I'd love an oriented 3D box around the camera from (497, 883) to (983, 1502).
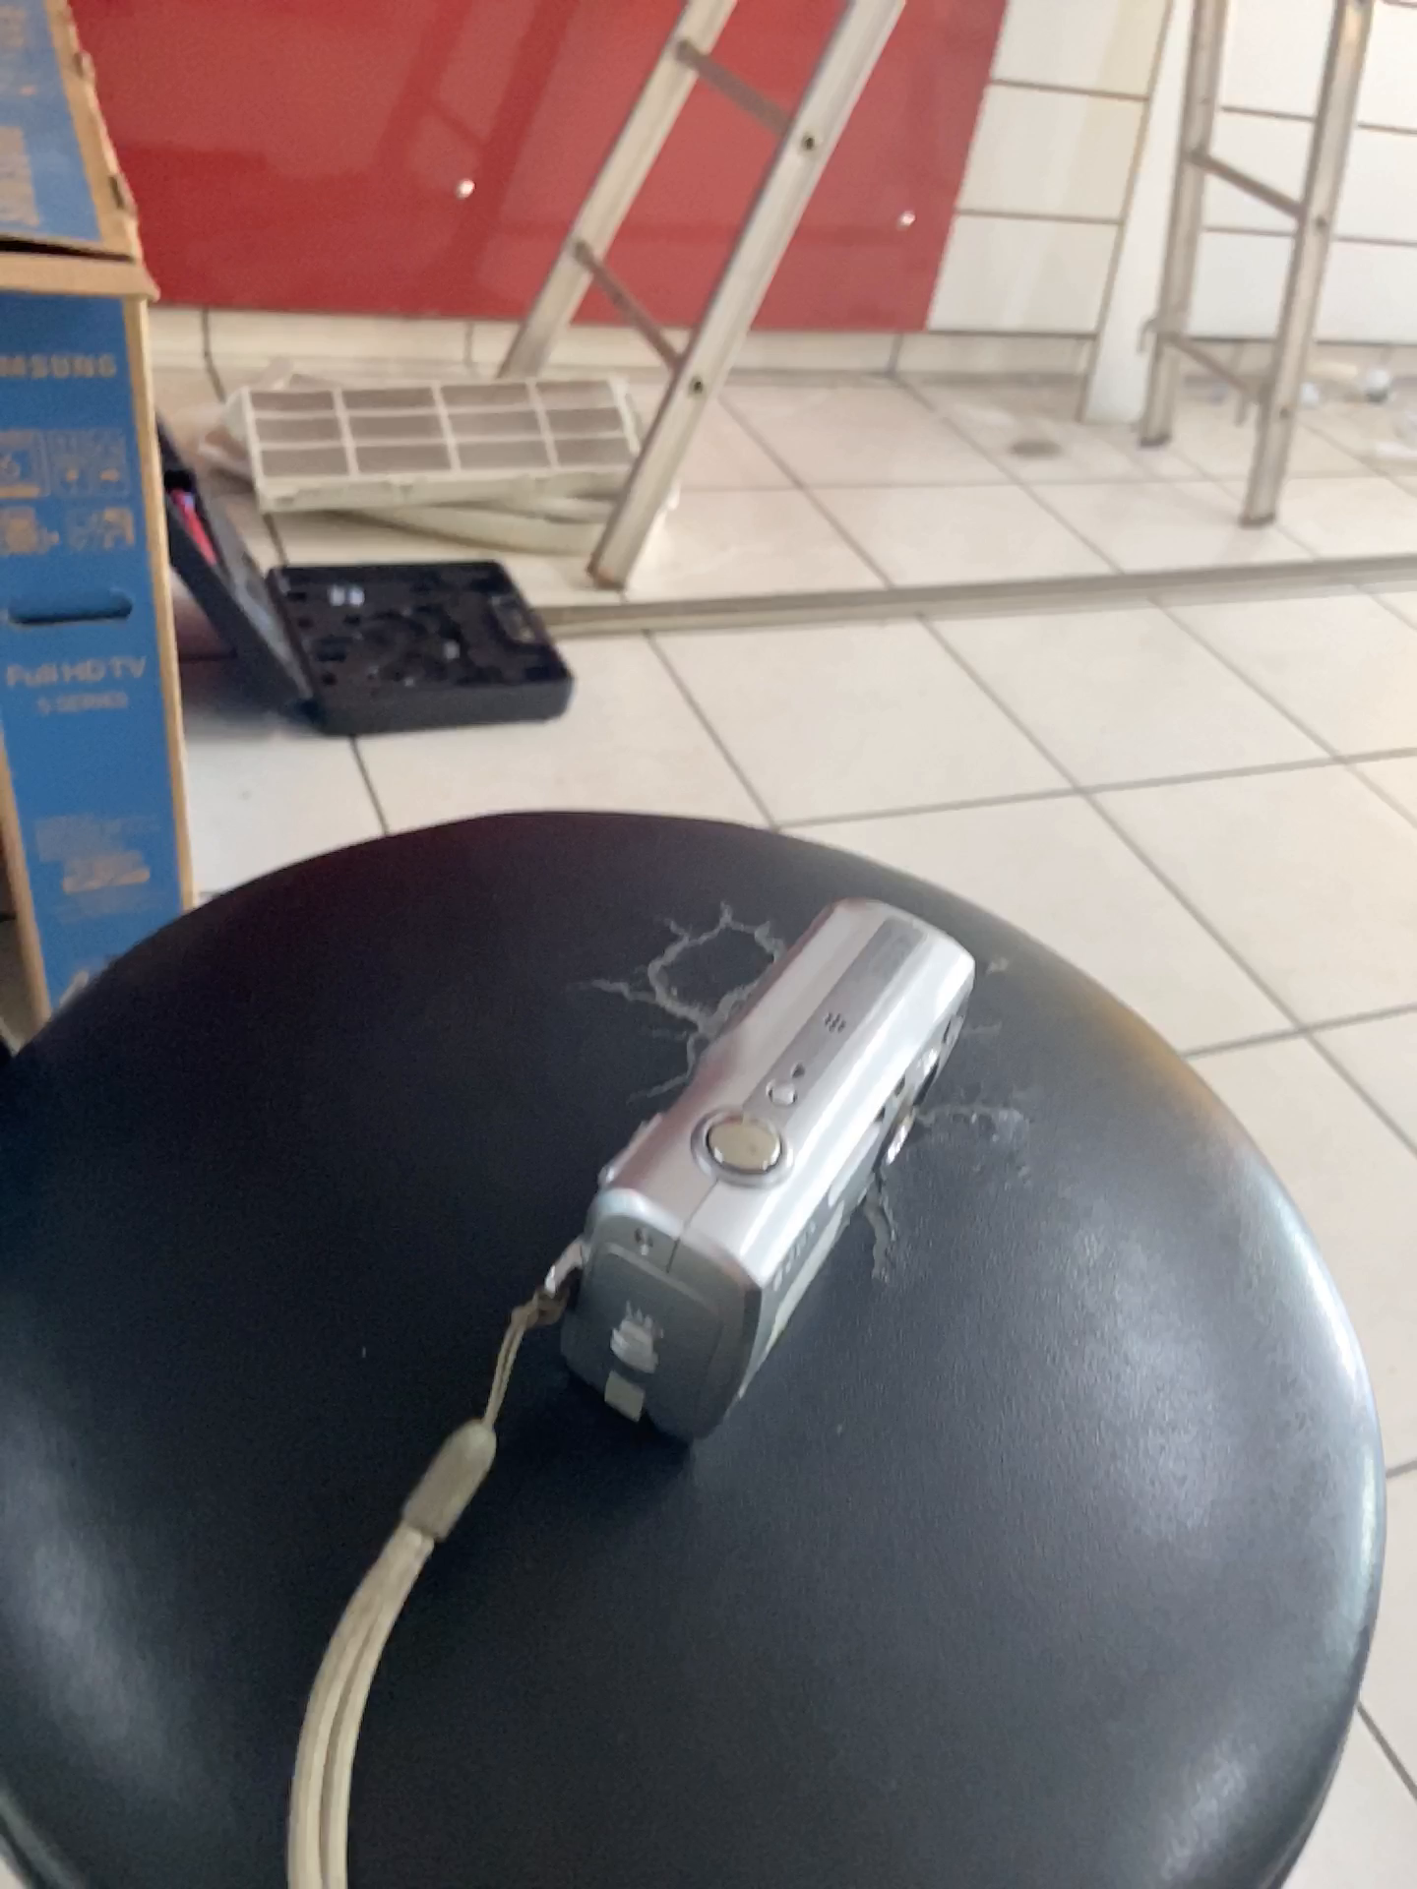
[{"bbox_3d":[0.008,0.040,0.271,0.040,0.050,0.101,26,42,16],"label":"camera"}]
